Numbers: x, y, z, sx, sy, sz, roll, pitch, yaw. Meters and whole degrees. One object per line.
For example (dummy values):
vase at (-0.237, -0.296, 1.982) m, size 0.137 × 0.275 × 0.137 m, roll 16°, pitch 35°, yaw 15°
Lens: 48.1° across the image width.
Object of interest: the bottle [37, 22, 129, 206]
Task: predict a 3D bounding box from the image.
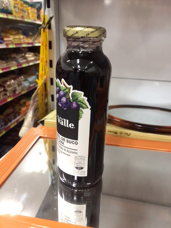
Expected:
bottle at (-0.005, -0.001, 0.225) m, size 0.070 × 0.189 × 0.060 m, roll 18°, pitch 26°, yaw 34°
